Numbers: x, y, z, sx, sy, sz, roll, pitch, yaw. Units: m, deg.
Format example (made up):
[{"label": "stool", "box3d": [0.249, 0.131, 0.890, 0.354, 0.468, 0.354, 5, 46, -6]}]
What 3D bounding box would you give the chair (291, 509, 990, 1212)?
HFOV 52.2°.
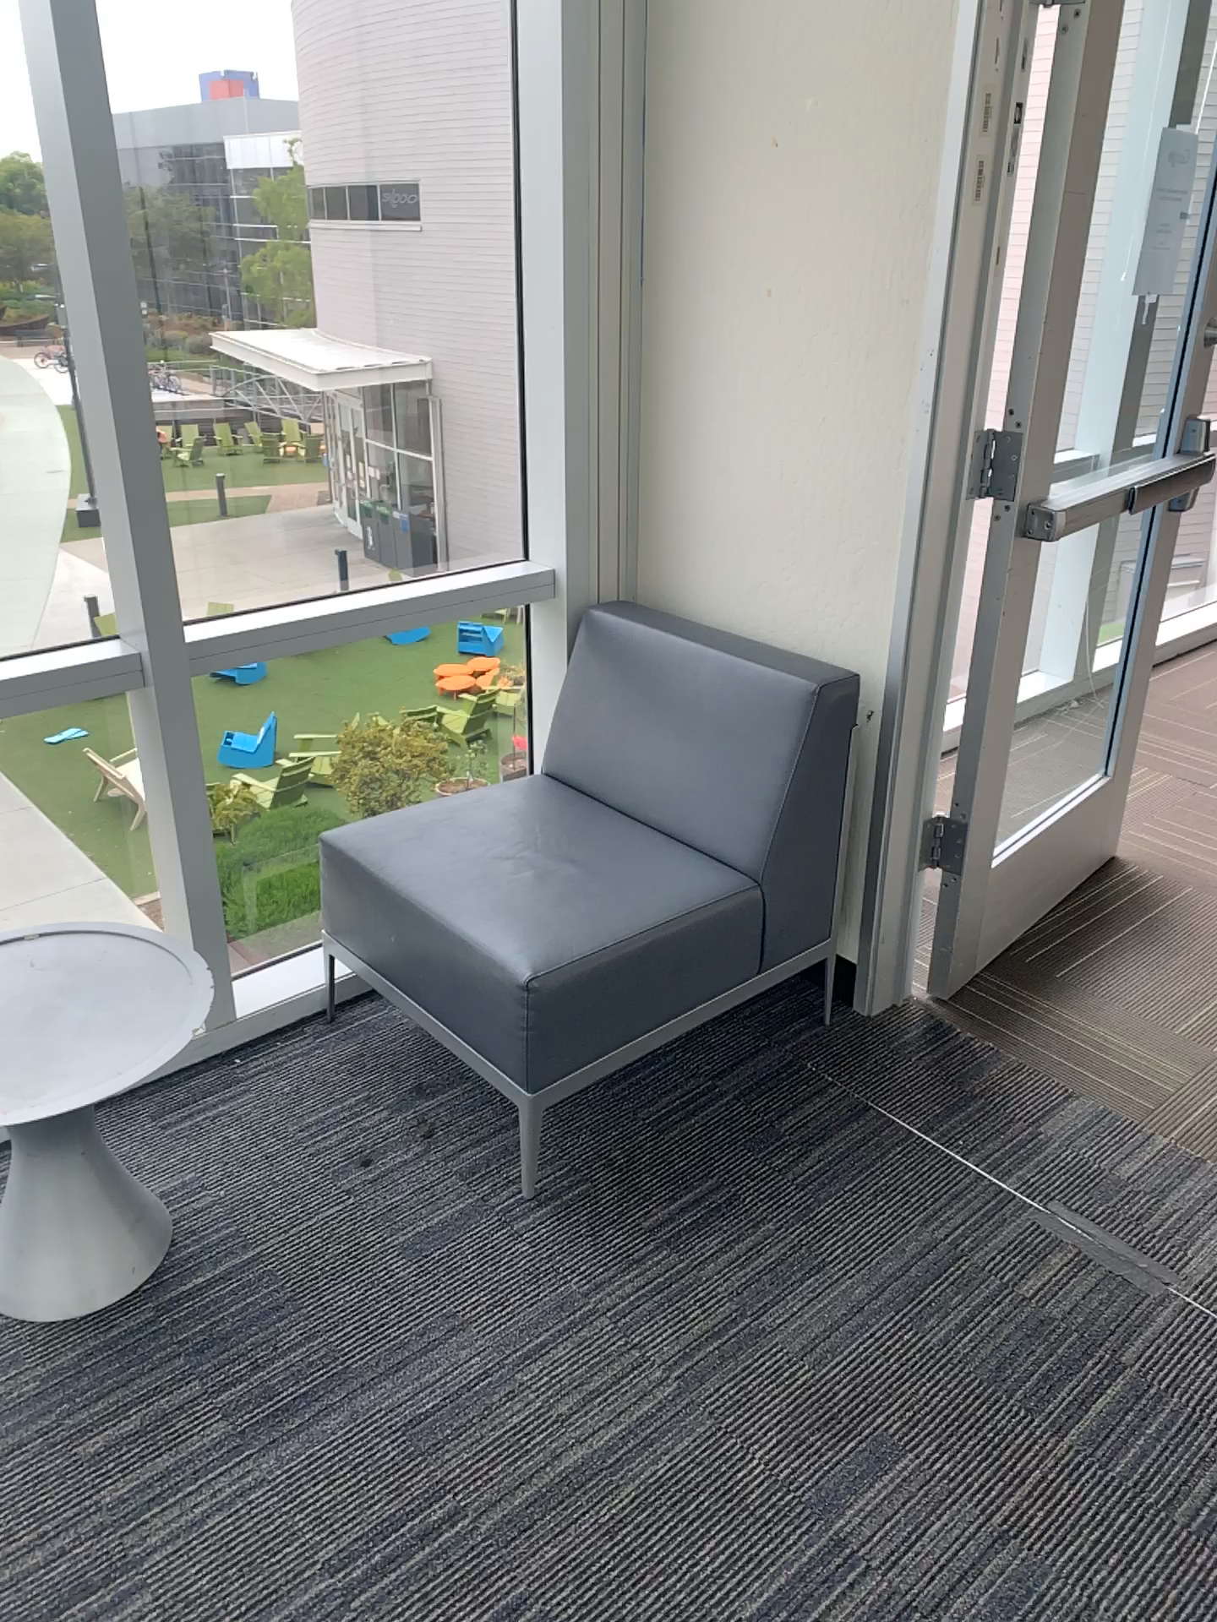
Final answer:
[{"label": "chair", "box3d": [0.050, -0.017, 2.710, 1.002, 0.995, 1.004, -20, 31, -37]}]
